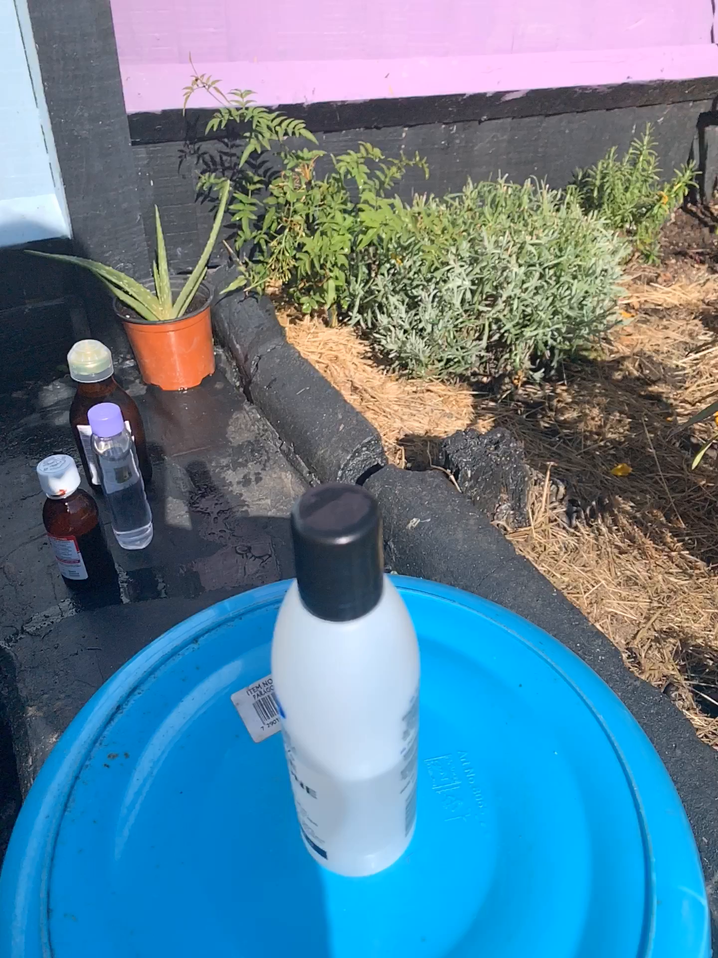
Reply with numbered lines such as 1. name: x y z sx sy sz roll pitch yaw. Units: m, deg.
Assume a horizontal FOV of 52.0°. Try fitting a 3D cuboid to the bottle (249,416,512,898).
1. bottle: 0.003 0.074 0.276 0.060 0.178 0.060 1 37 0
